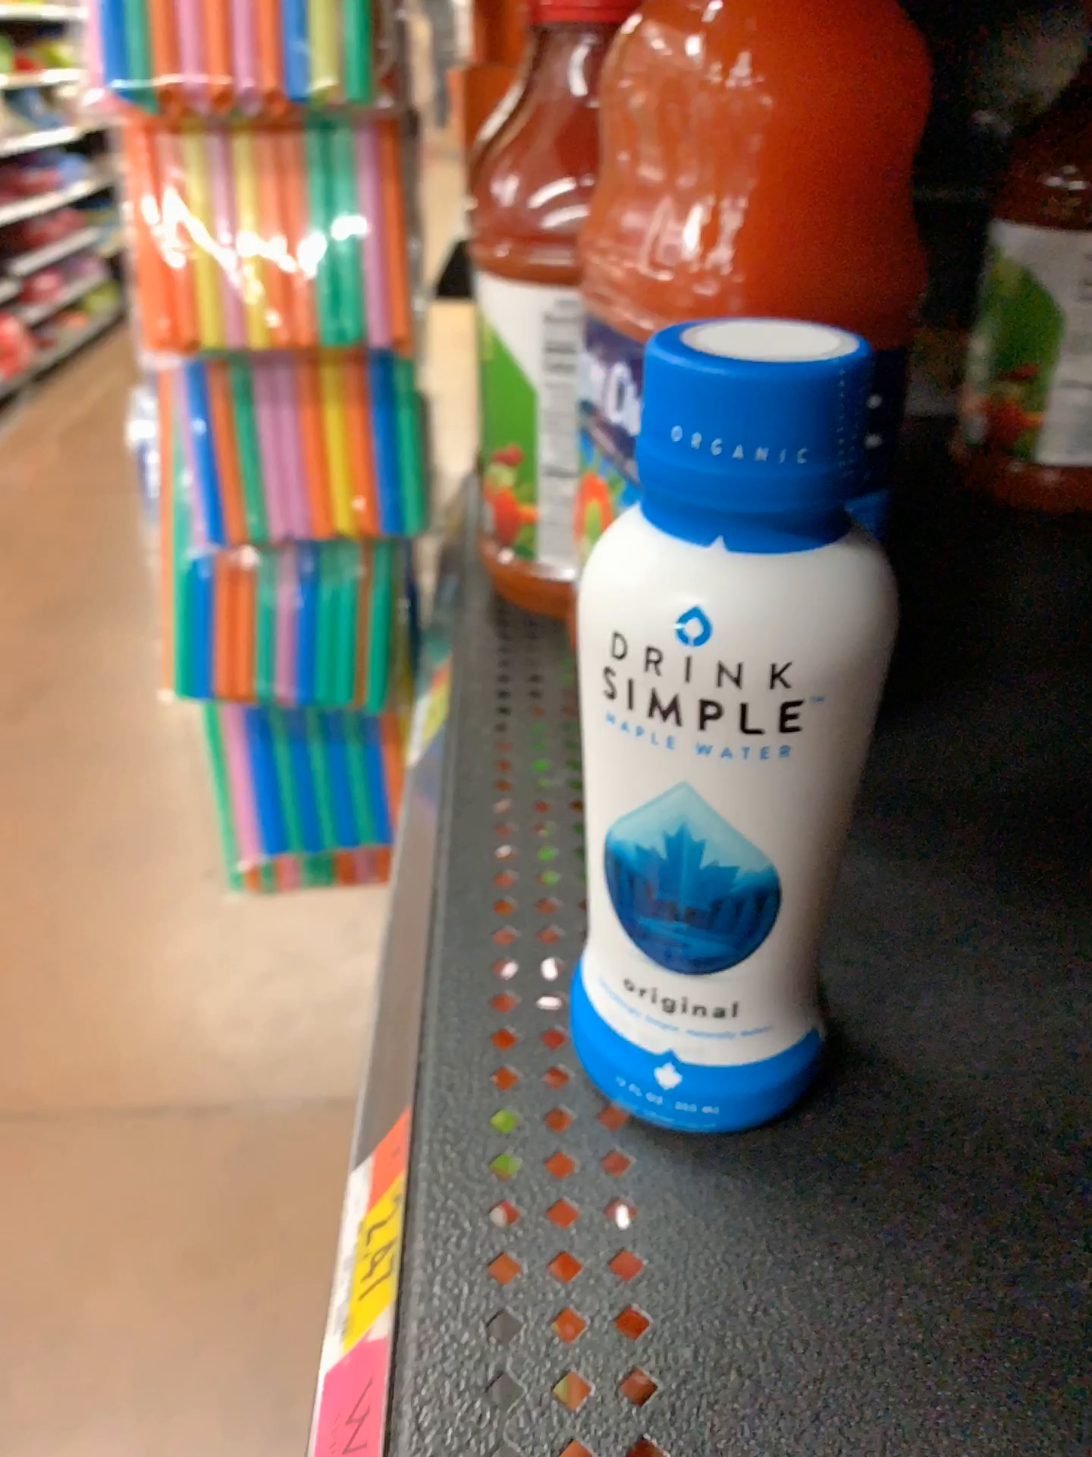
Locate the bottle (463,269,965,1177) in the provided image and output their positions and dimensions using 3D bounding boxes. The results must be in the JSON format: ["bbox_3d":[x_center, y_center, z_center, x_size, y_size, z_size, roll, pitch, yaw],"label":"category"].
[{"bbox_3d":[0.034,0.001,0.240,0.070,0.169,0.066,-1,31,1],"label":"bottle"}]
